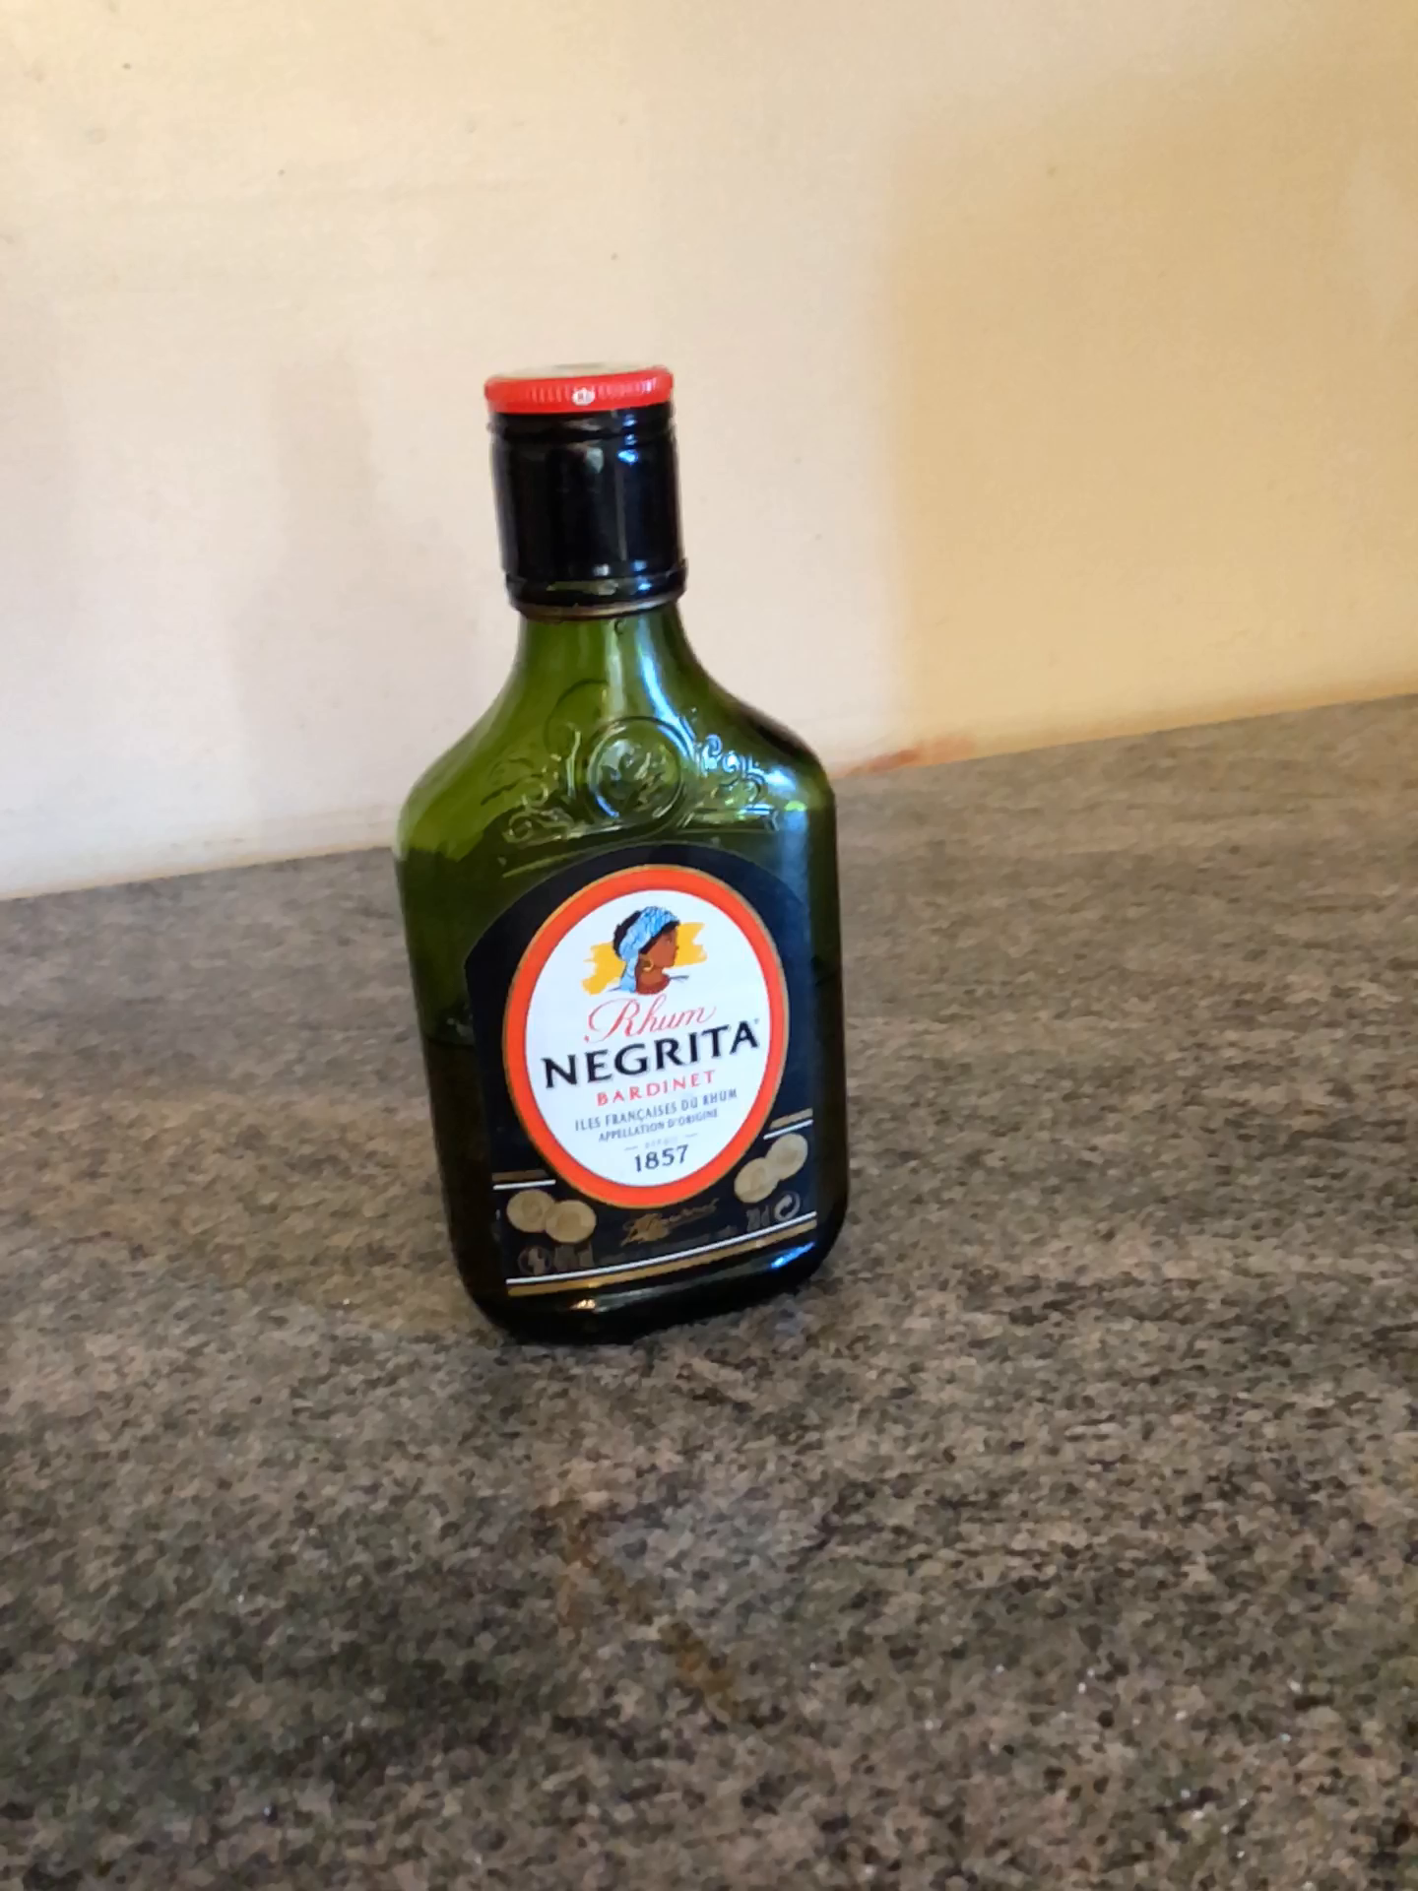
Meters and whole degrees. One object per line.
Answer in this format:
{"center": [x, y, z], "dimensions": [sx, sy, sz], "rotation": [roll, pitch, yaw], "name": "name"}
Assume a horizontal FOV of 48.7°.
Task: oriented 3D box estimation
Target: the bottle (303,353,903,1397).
{"center": [-0.015, -0.013, 0.267], "dimensions": [0.080, 0.159, 0.050], "rotation": [-10, 23, -14], "name": "bottle"}
